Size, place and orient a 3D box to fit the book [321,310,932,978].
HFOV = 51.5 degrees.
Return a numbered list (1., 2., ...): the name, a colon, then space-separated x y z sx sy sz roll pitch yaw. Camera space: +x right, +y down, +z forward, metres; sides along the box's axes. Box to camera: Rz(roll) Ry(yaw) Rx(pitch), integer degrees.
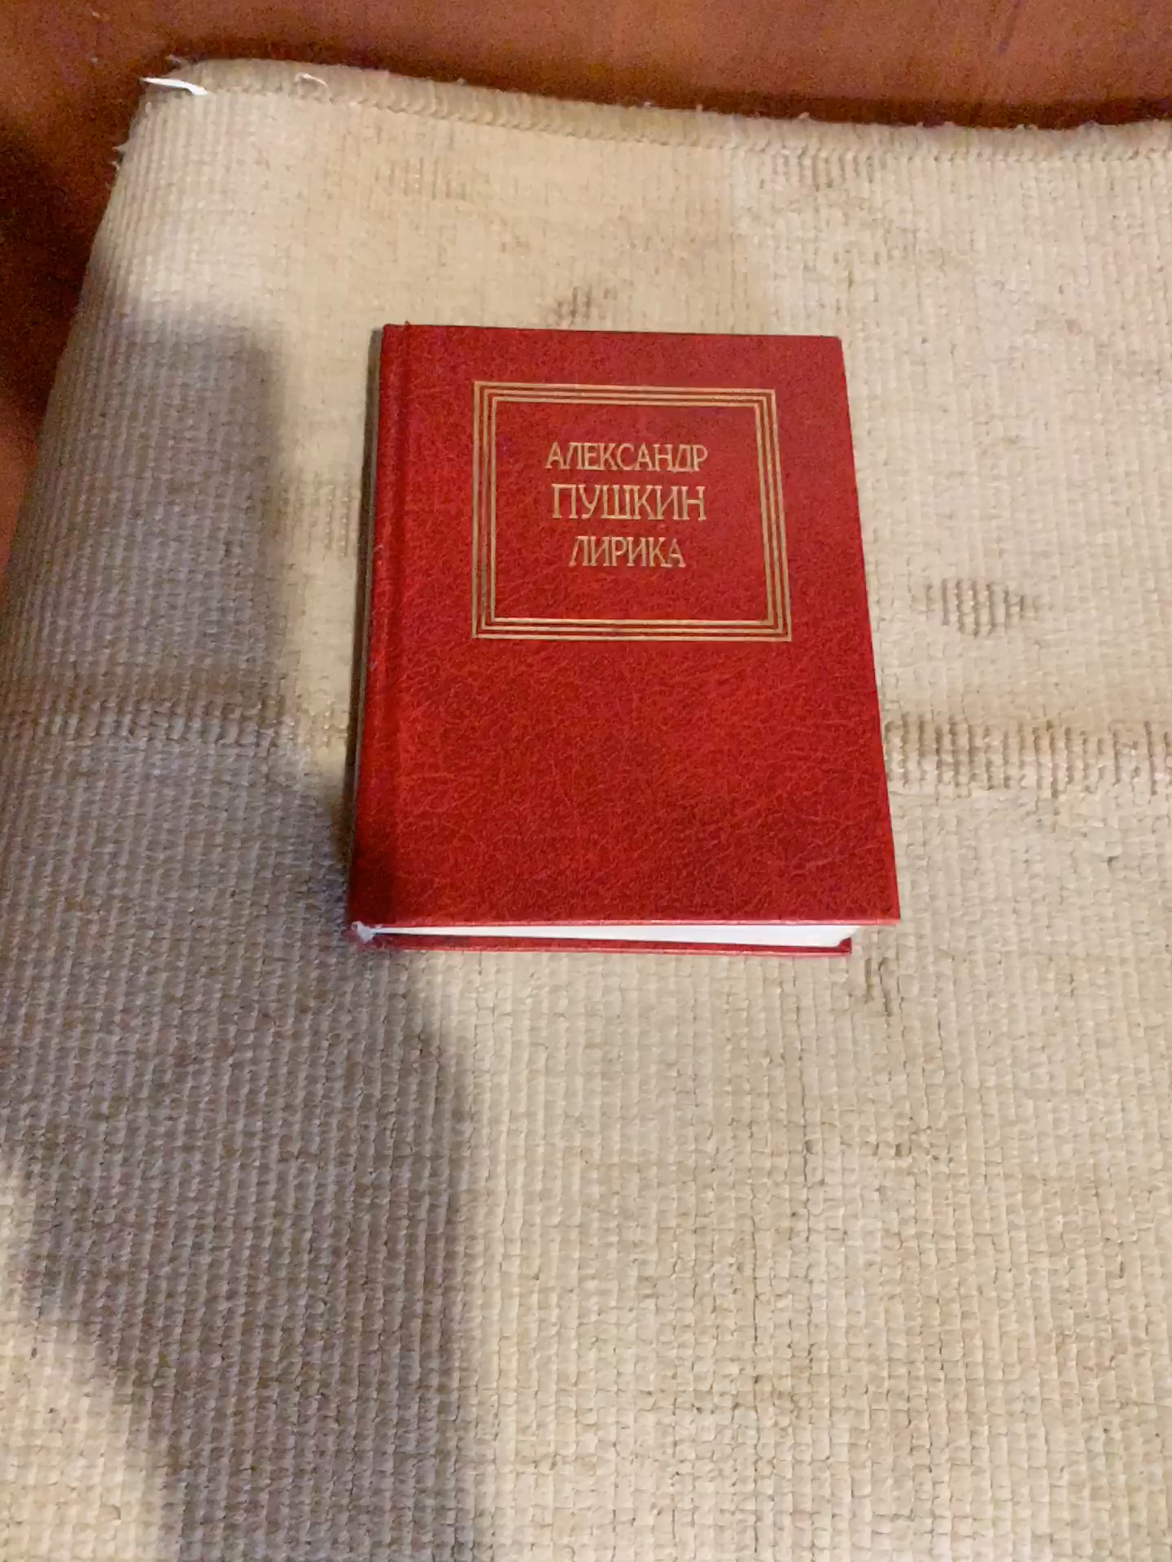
1. book: 0.008 -0.033 0.277 0.119 0.034 0.149 1 71 -3
